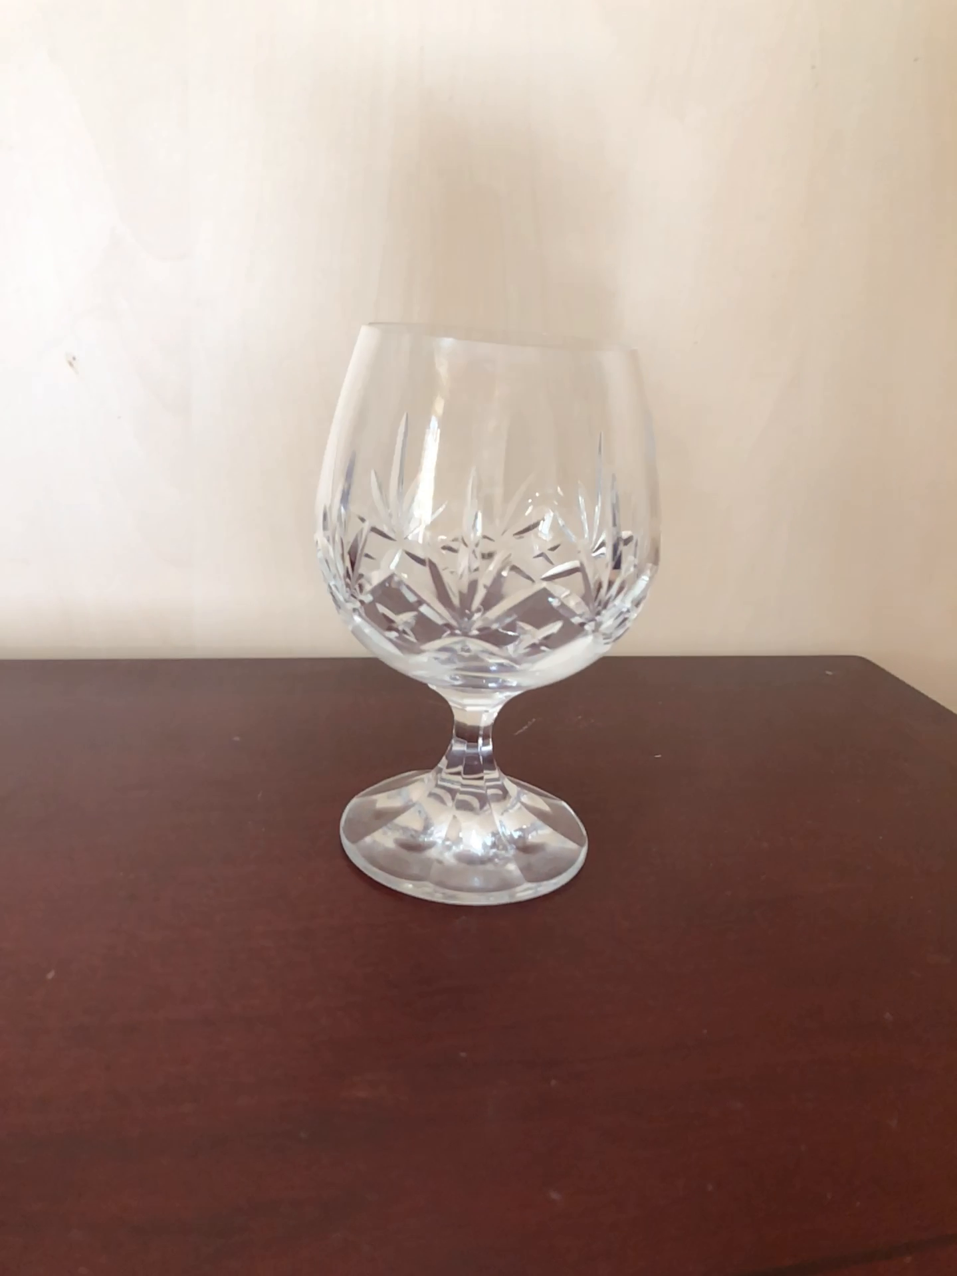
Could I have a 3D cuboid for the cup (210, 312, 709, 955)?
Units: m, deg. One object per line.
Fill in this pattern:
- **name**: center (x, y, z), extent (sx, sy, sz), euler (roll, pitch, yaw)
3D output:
- **cup**: center (-0.003, -0.011, 0.264), extent (0.087, 0.126, 0.089), euler (4, 16, -1)
